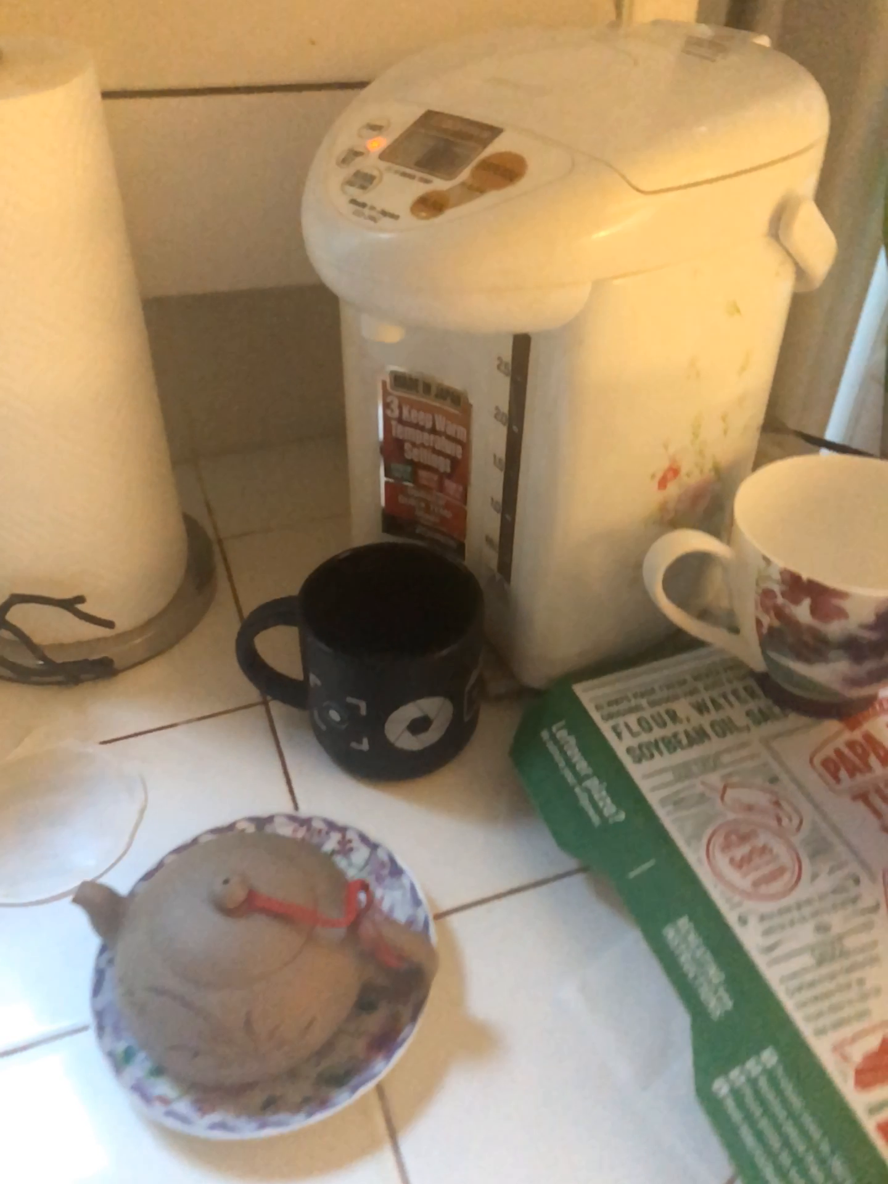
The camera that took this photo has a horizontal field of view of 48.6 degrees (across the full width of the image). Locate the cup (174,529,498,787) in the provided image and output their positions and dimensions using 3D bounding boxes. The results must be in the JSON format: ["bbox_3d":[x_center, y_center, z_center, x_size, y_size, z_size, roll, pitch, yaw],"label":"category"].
[{"bbox_3d":[-0.046,0.031,0.487,0.140,0.079,0.091,3,40,2],"label":"cup"}]

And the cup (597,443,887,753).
[{"bbox_3d":[0.166,-0.001,0.451,0.160,0.079,0.101,-6,41,-8],"label":"cup"}]

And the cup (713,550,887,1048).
[{"bbox_3d":[0.200,0.065,0.354,0.161,0.079,0.101,-17,44,-20],"label":"cup"}]
